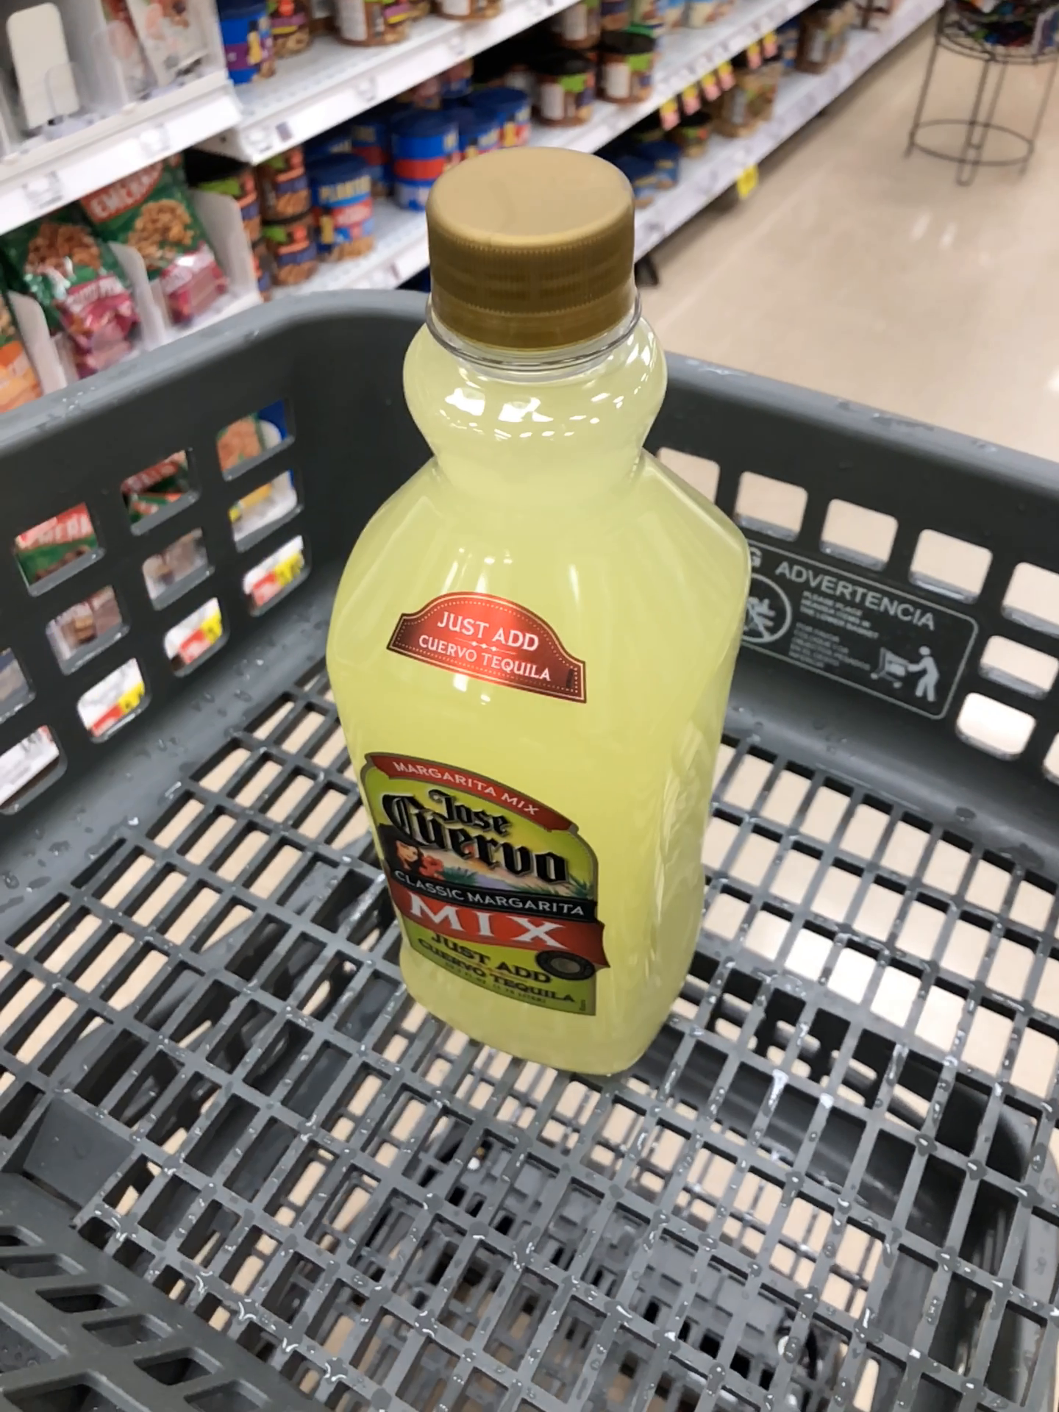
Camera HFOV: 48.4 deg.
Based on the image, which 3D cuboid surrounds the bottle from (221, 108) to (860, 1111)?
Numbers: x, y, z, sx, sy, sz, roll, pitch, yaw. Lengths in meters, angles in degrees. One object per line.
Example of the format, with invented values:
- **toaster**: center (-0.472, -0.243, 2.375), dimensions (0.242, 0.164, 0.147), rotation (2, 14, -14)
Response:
- **bottle**: center (0.004, -0.004, 0.342), dimensions (0.110, 0.279, 0.080), rotation (18, 47, 16)
